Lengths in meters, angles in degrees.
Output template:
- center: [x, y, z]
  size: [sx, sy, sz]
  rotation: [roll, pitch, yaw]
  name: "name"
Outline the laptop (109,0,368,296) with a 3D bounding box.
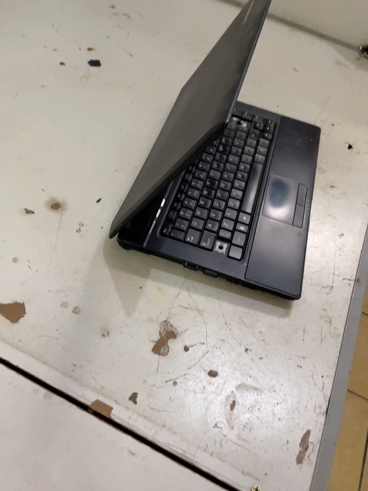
- center: [0.080, -0.161, 0.461]
  size: [0.223, 0.194, 0.334]
  rotation: [18, 54, 3]
  name: "laptop"
